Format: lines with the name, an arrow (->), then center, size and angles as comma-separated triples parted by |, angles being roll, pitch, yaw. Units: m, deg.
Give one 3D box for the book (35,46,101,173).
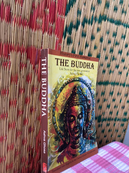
book -> 0.016, 0.041, 0.278 | 0.146, 0.207, 0.030 | 0, 0, -41
